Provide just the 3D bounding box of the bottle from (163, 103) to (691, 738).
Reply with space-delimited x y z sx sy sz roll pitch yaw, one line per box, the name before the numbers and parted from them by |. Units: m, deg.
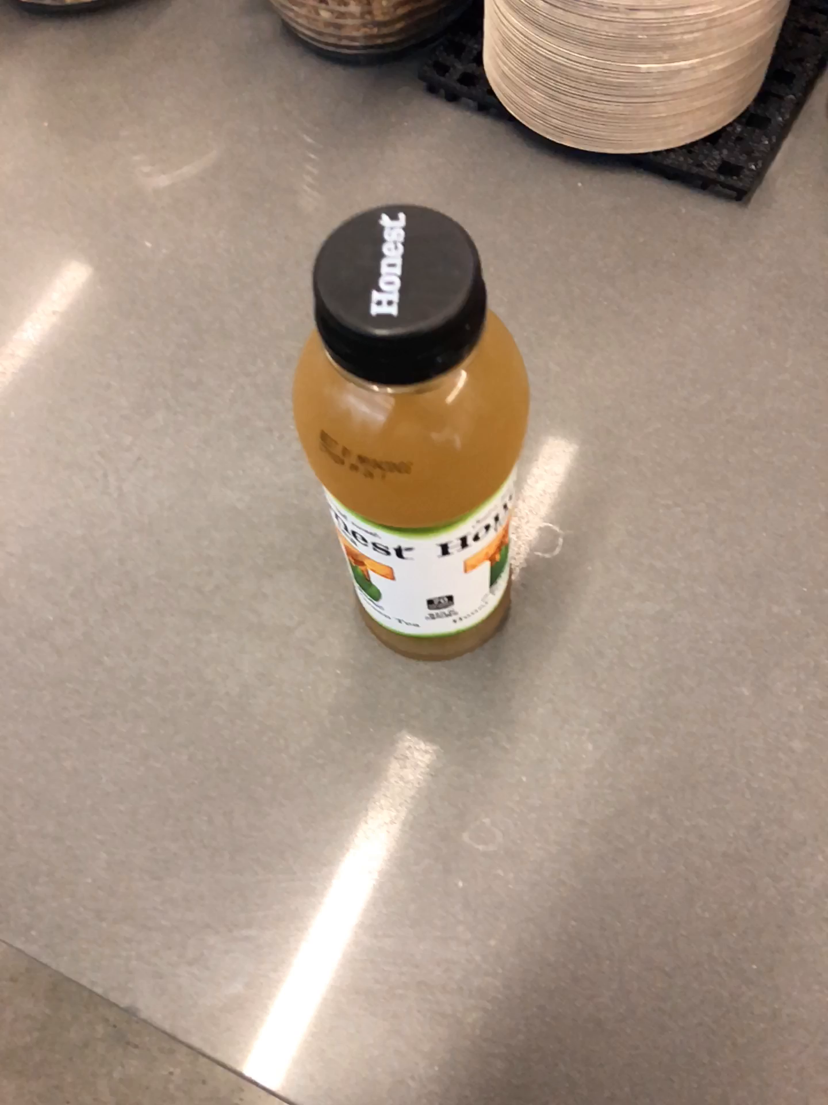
bottle | 0.008 -0.024 0.308 0.090 0.190 0.090 -1 65 3
